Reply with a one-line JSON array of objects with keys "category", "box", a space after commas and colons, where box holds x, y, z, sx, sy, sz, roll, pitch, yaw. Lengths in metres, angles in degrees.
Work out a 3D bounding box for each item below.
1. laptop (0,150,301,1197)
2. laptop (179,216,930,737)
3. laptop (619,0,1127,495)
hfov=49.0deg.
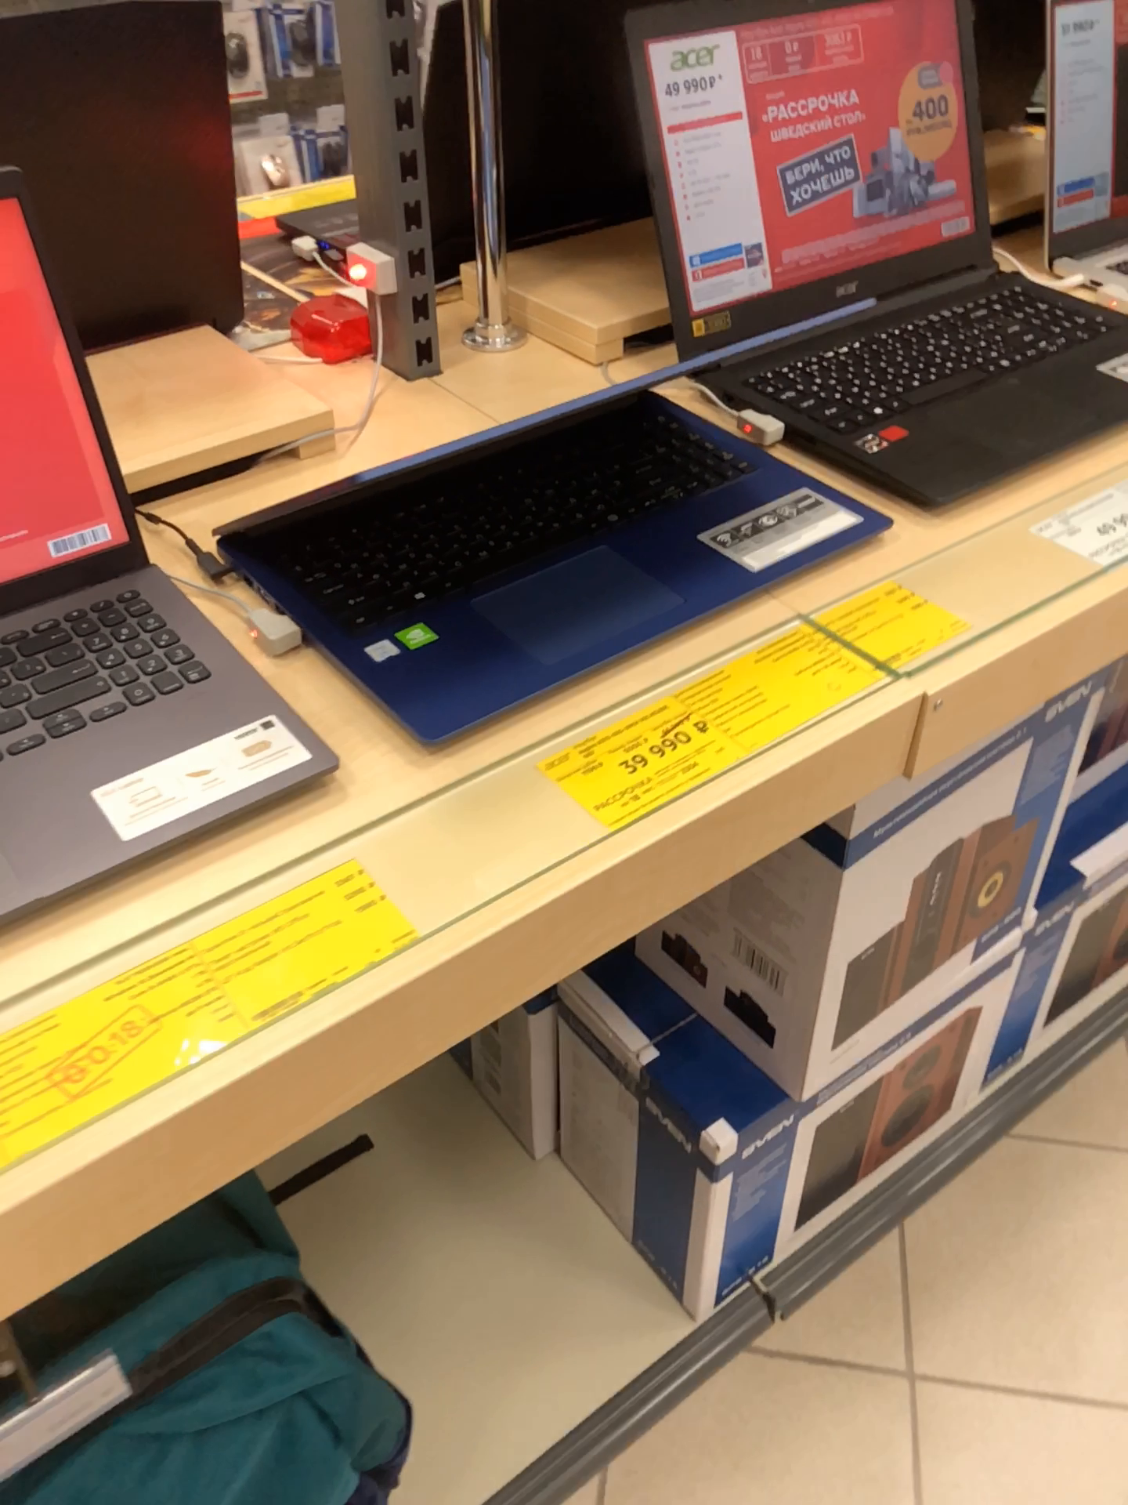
[{"category": "laptop", "box": [-0.376, -0.085, 0.556, 0.391, 0.206, 0.303, -25, 48, -28]}, {"category": "laptop", "box": [-0.003, -0.195, 0.766, 0.368, 0.126, 0.246, -27, 47, -27]}, {"category": "laptop", "box": [0.289, -0.429, 0.945, 0.358, 0.226, 0.355, -25, 46, -25]}]
